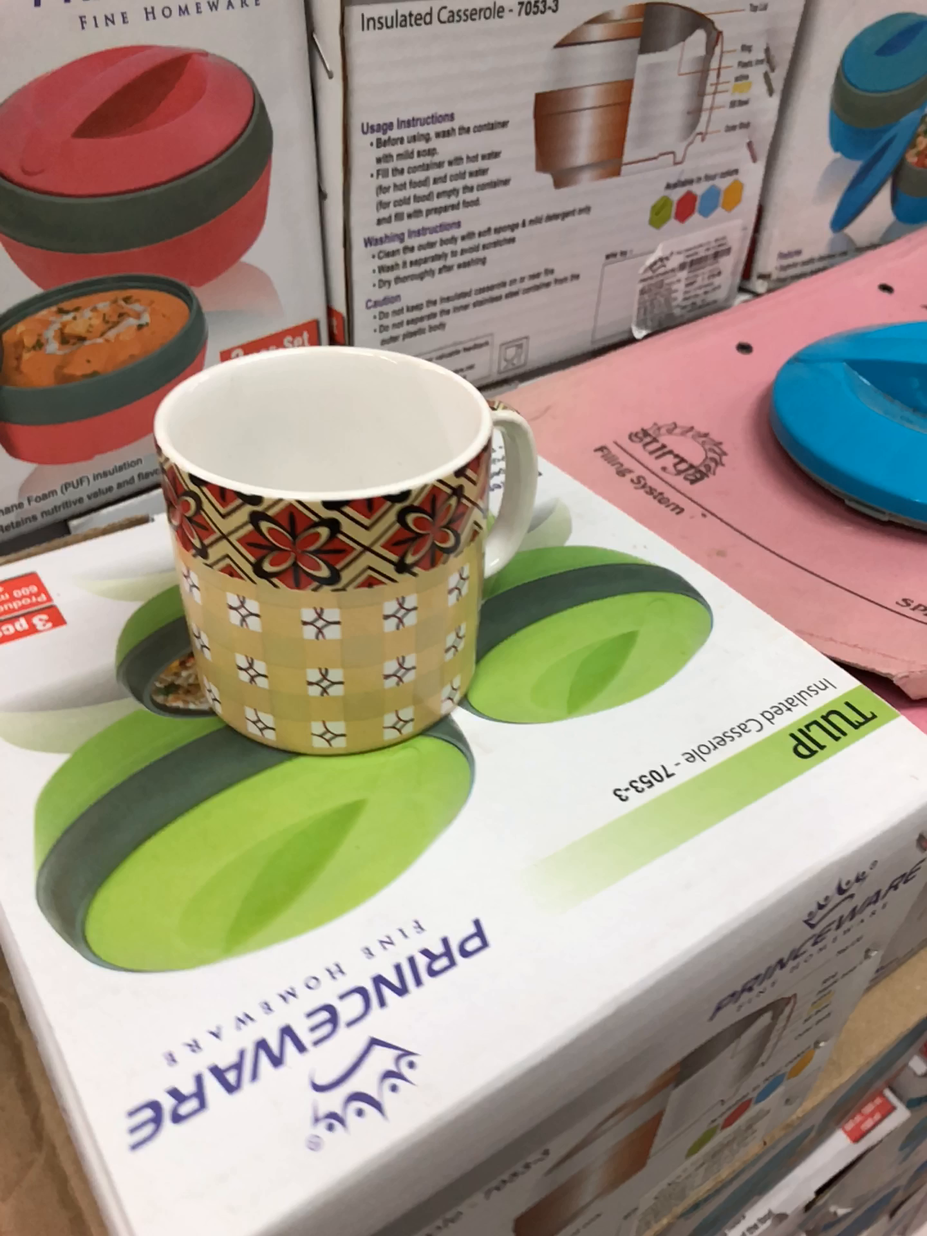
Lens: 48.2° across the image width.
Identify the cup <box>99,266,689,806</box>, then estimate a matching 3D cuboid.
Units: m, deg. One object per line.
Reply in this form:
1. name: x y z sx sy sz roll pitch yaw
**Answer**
1. cup: -0.017 -0.028 0.263 0.110 0.079 0.080 -23 44 -29
